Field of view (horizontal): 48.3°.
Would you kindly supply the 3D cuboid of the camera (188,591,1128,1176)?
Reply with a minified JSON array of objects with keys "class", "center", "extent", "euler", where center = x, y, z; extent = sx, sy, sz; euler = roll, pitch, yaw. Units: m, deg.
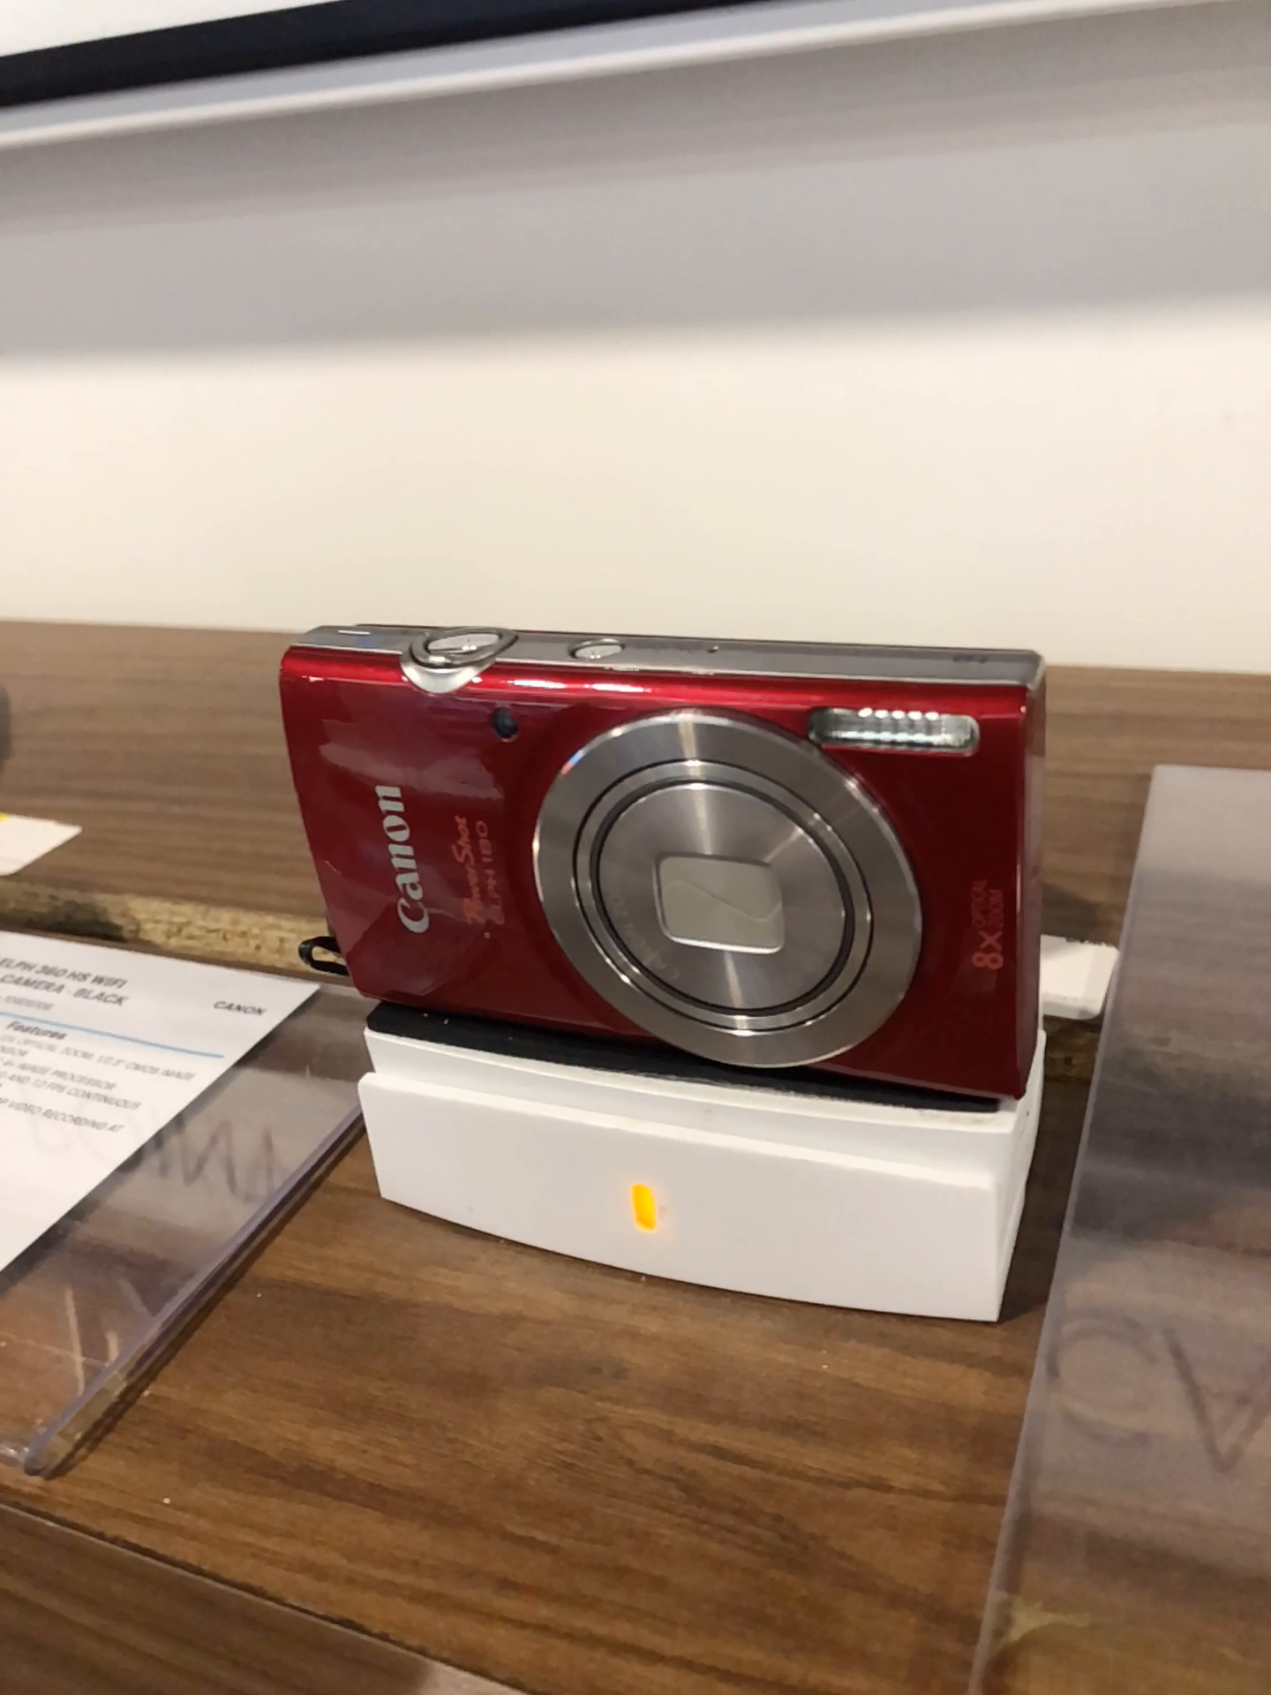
[{"class":"camera","center":[0.002,0.000,0.166],"extent":[0.100,0.050,0.030],"euler":[6,27,24]}]
